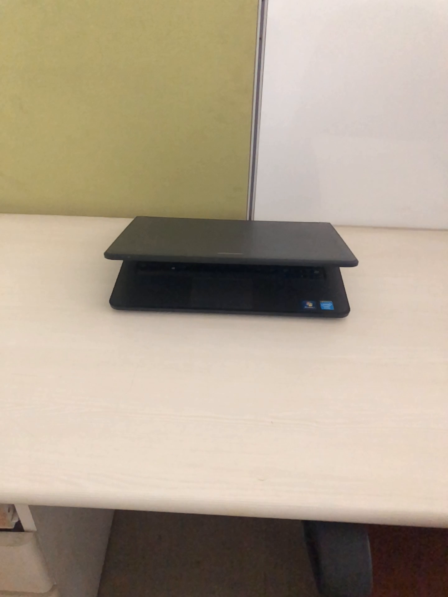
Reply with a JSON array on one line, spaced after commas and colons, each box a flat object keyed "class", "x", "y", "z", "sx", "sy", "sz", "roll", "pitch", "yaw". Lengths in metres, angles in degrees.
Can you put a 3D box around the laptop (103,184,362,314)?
[{"class": "laptop", "x": 0.013, "y": -0.083, "z": 0.726, "sx": 0.322, "sy": 0.072, "sz": 0.230, "roll": 2, "pitch": 36, "yaw": 1}]
